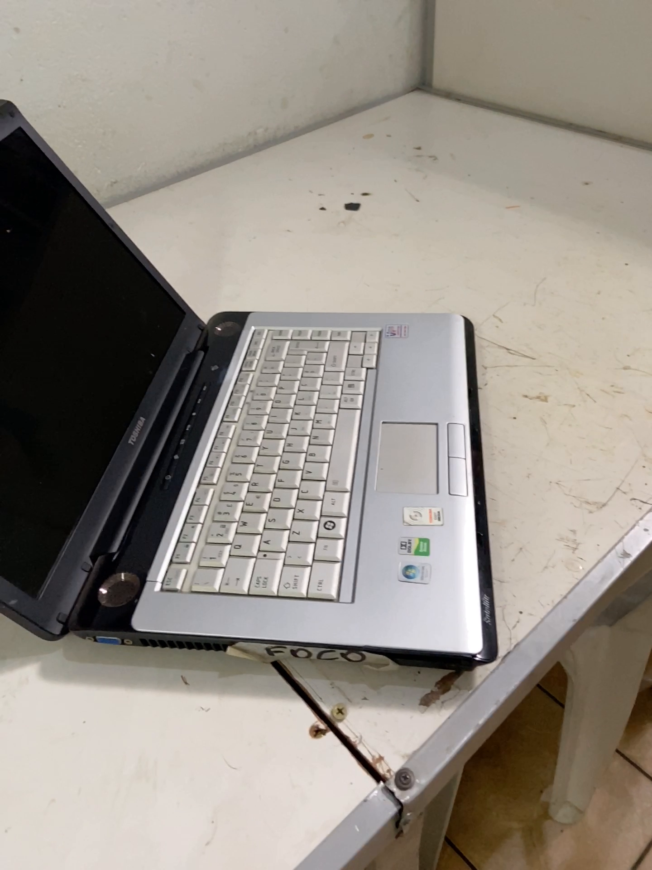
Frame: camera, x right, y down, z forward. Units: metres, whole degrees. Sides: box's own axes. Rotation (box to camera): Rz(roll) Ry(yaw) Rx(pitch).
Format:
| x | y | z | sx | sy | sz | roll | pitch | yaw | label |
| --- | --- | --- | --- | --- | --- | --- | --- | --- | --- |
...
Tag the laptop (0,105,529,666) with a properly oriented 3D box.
| x | y | z | sx | sy | sz | roll | pitch | yaw | label |
| --- | --- | --- | --- | --- | --- | --- | --- | --- | --- |
| -0.091 | -0.064 | 0.475 | 0.393 | 0.200 | 0.352 | 2 | 43 | 8 | laptop |
